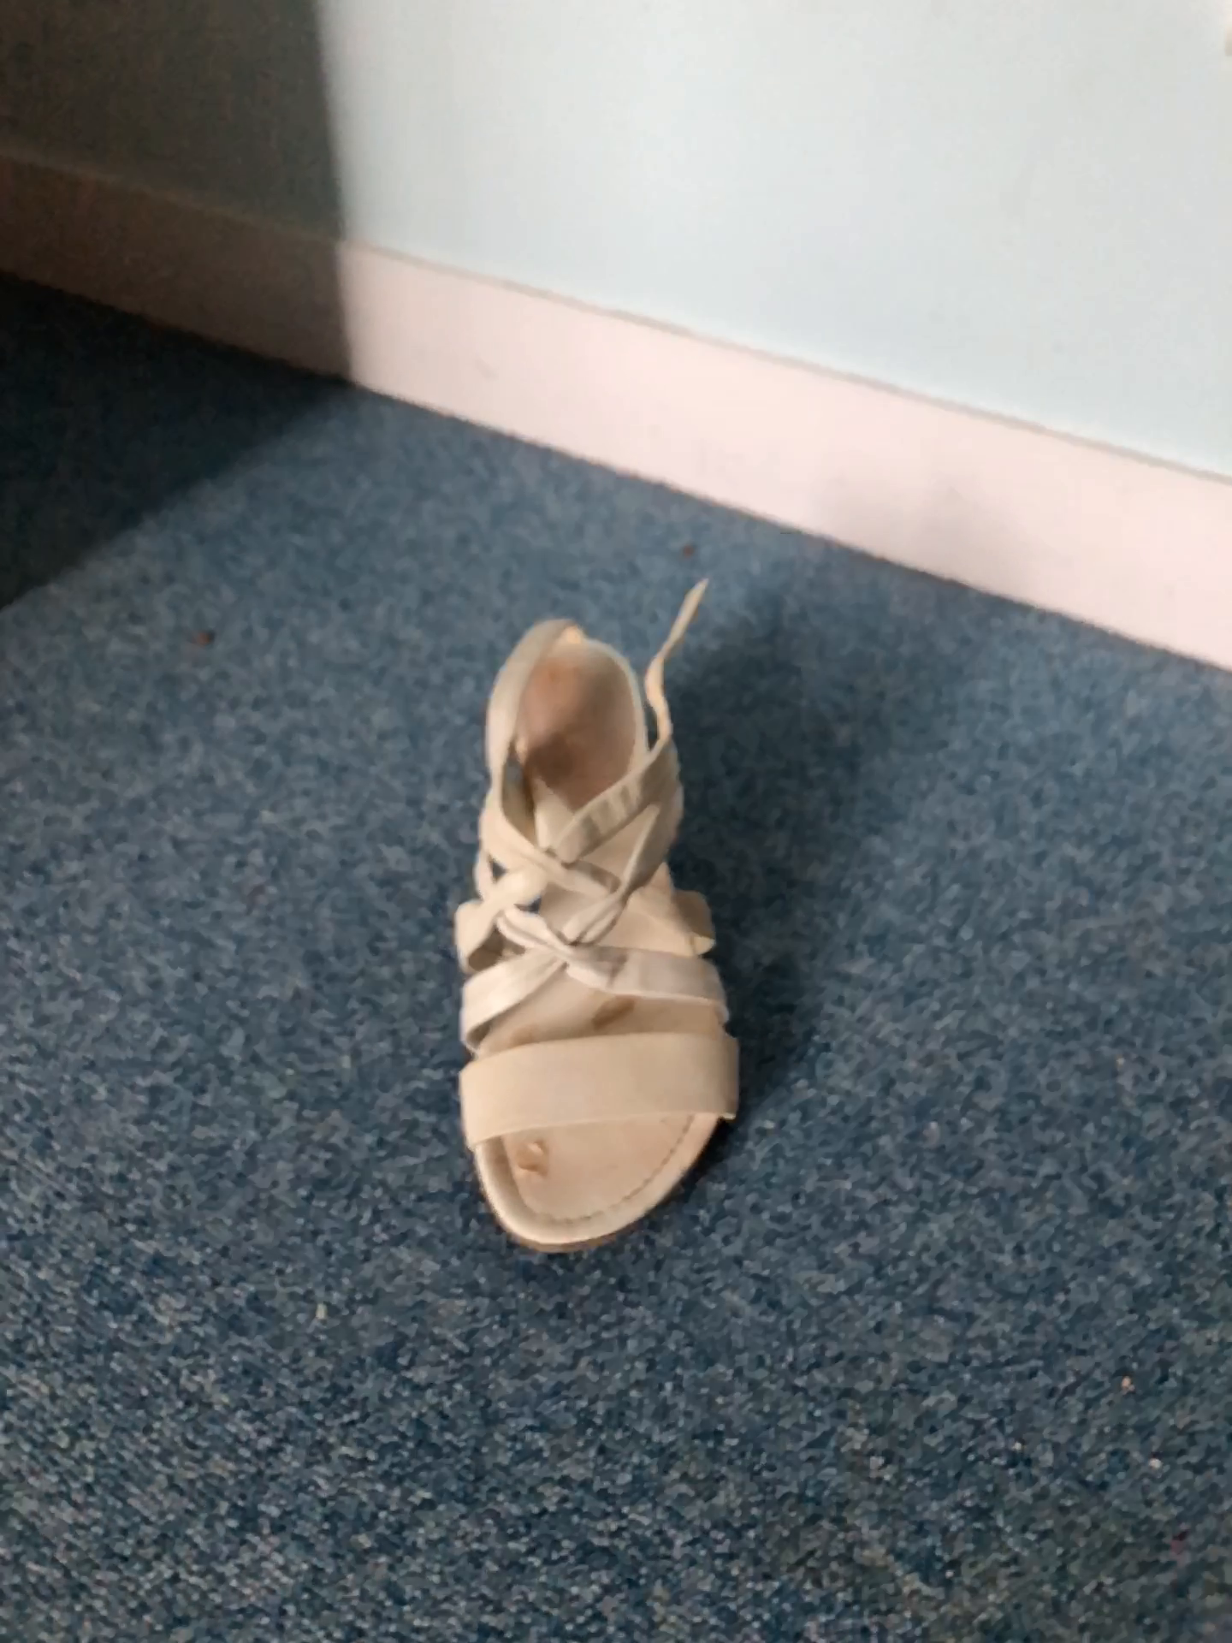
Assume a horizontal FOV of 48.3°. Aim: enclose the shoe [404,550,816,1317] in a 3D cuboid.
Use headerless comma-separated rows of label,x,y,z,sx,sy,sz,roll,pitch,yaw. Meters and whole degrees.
shoe,-0.011,0.022,0.458,0.100,0.109,0.241,-3,42,-4
